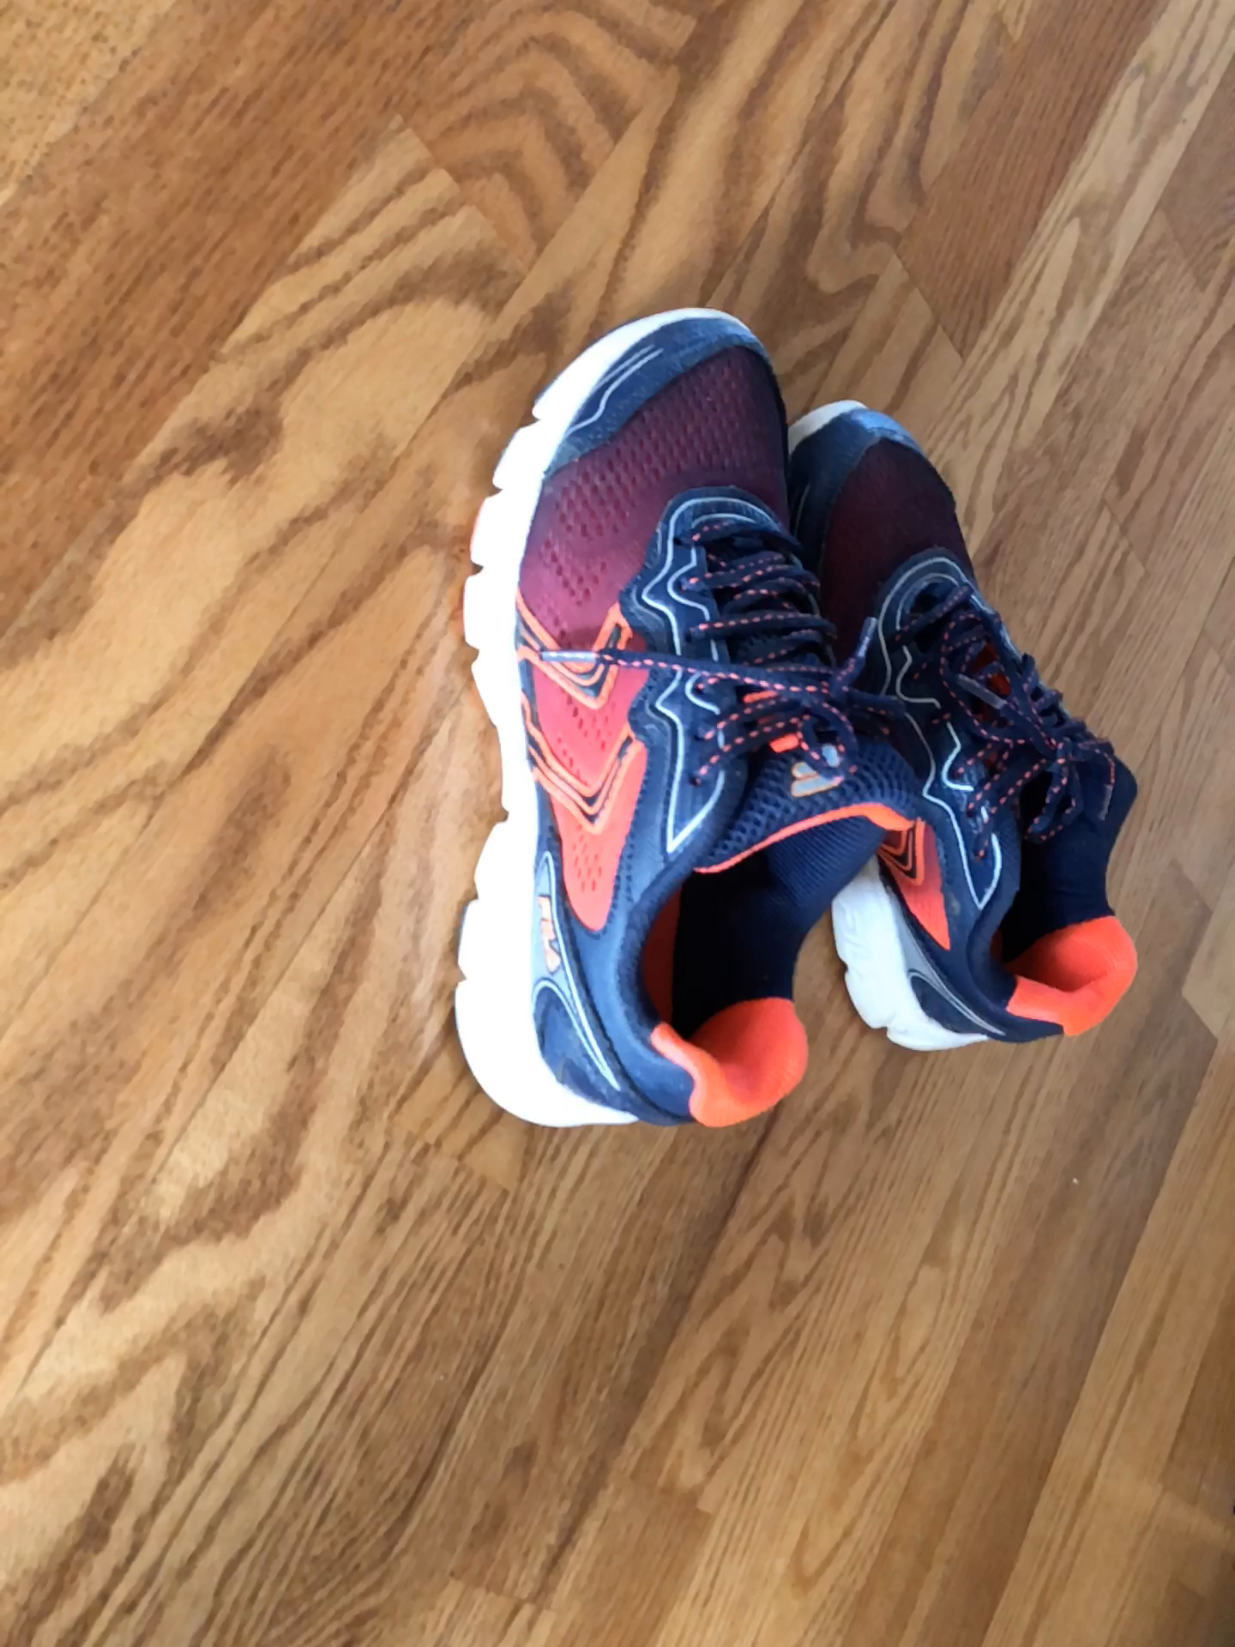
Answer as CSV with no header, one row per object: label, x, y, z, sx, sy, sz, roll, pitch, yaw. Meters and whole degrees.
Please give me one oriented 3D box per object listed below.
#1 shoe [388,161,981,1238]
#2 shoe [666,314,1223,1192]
shoe,0.019,-0.030,0.414,0.108,0.109,0.270,5,91,-40
shoe,0.129,-0.026,0.505,0.116,0.109,0.277,-27,111,-35
